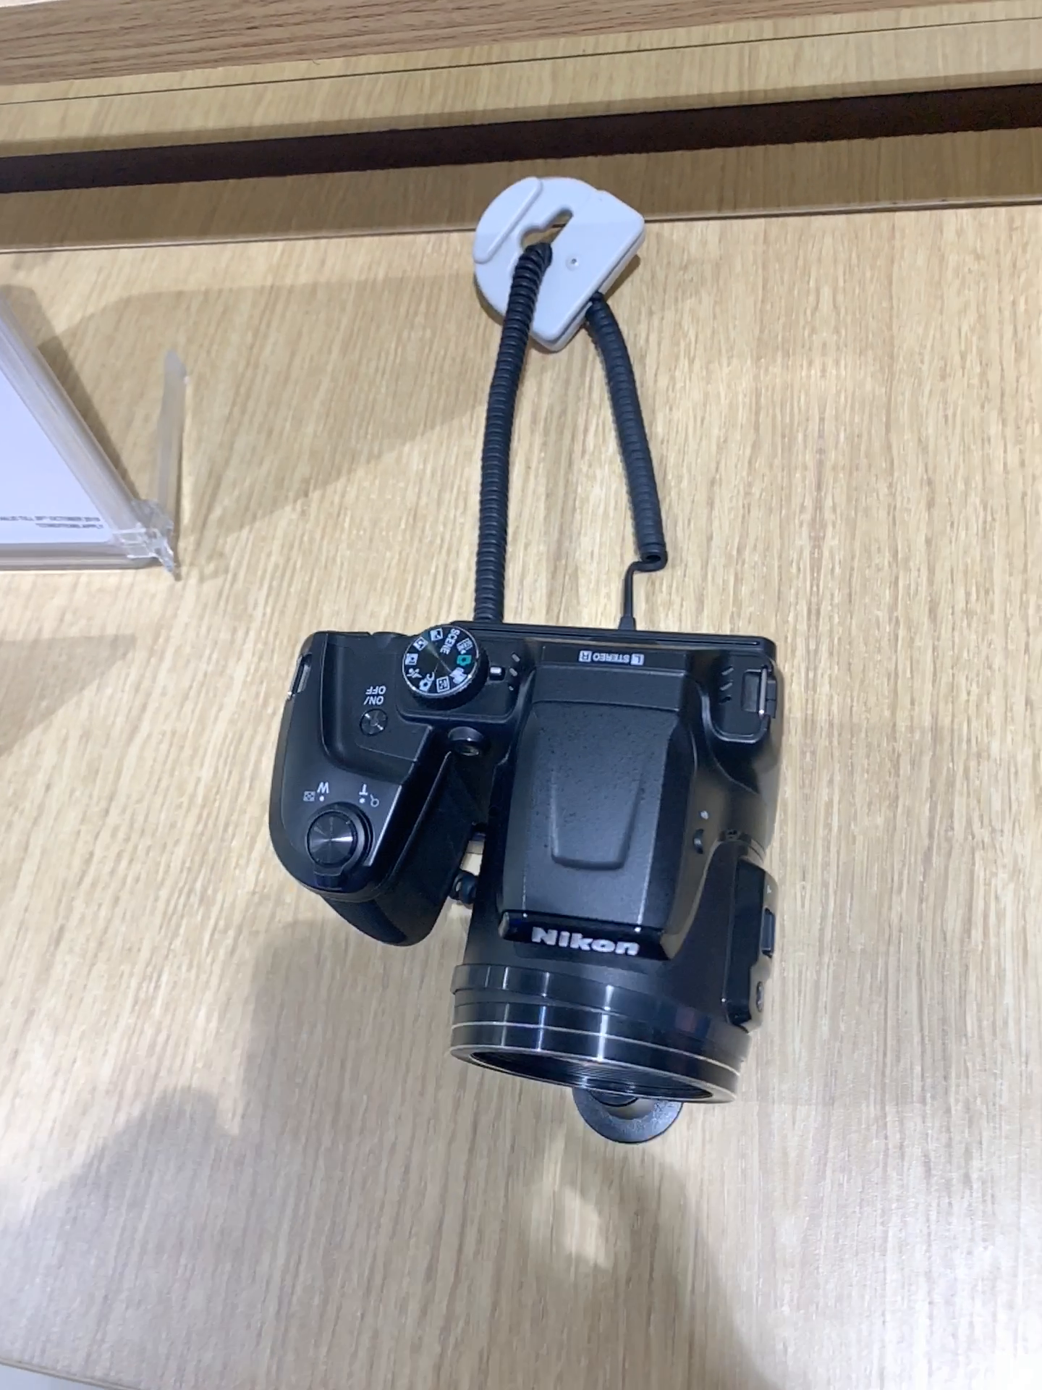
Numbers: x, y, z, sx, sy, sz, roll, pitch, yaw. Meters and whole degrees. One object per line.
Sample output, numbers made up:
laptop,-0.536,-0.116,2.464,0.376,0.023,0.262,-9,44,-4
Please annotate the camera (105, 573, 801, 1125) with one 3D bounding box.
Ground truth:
camera,-0.004,0.035,0.237,0.120,0.080,0.090,4,66,14
